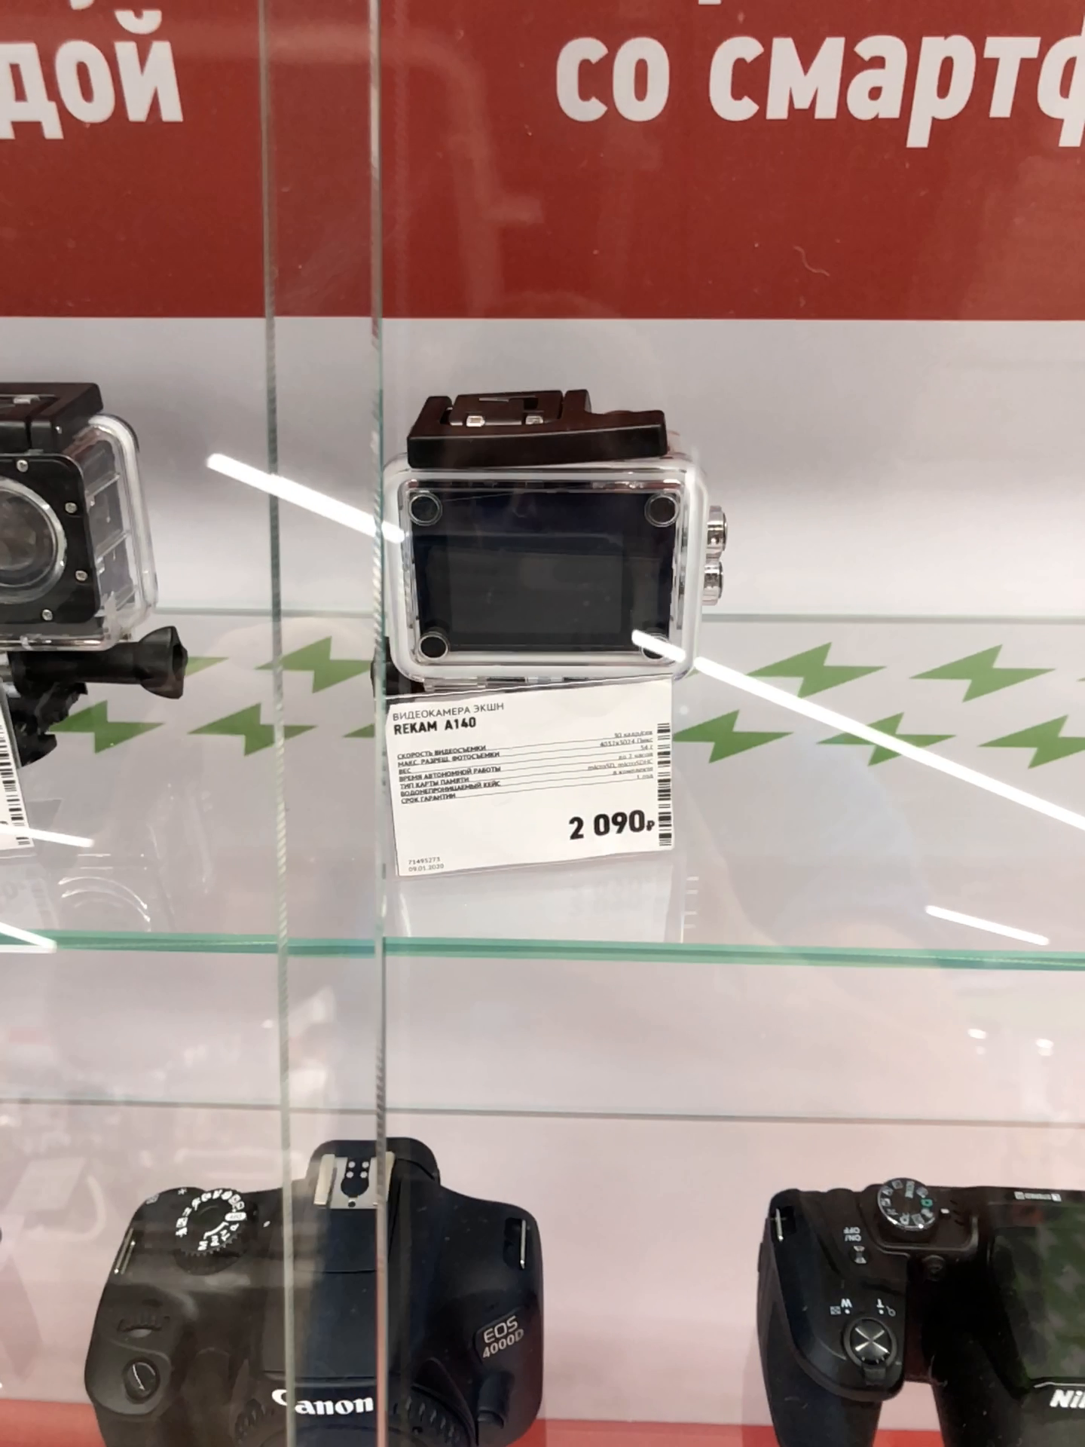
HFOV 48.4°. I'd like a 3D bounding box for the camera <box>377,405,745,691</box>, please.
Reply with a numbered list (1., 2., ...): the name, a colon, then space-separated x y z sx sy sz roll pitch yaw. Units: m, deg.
1. camera: 0.004 -0.041 0.277 0.075 0.053 0.040 0 31 1
